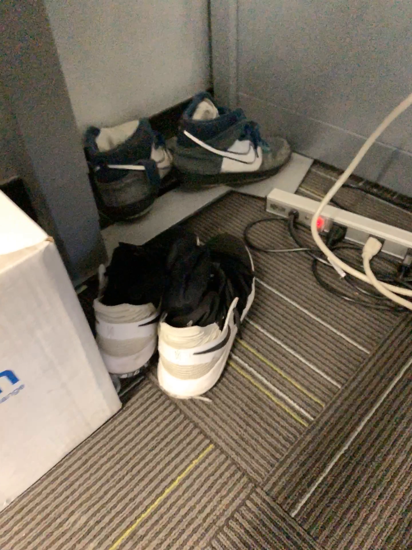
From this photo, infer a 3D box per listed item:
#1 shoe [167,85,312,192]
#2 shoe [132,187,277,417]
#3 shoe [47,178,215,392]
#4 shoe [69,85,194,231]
[{"bbox_3d":[0.062,-0.296,0.914,0.260,0.159,0.131,-10,46,-17],"label":"shoe"},{"bbox_3d":[0.015,0.021,0.595,0.100,0.129,0.291,12,48,14],"label":"shoe"},{"bbox_3d":[-0.088,0.000,0.644,0.100,0.129,0.301,15,49,16],"label":"shoe"},{"bbox_3d":[-0.132,-0.260,0.895,0.130,0.169,0.332,7,40,11],"label":"shoe"}]
